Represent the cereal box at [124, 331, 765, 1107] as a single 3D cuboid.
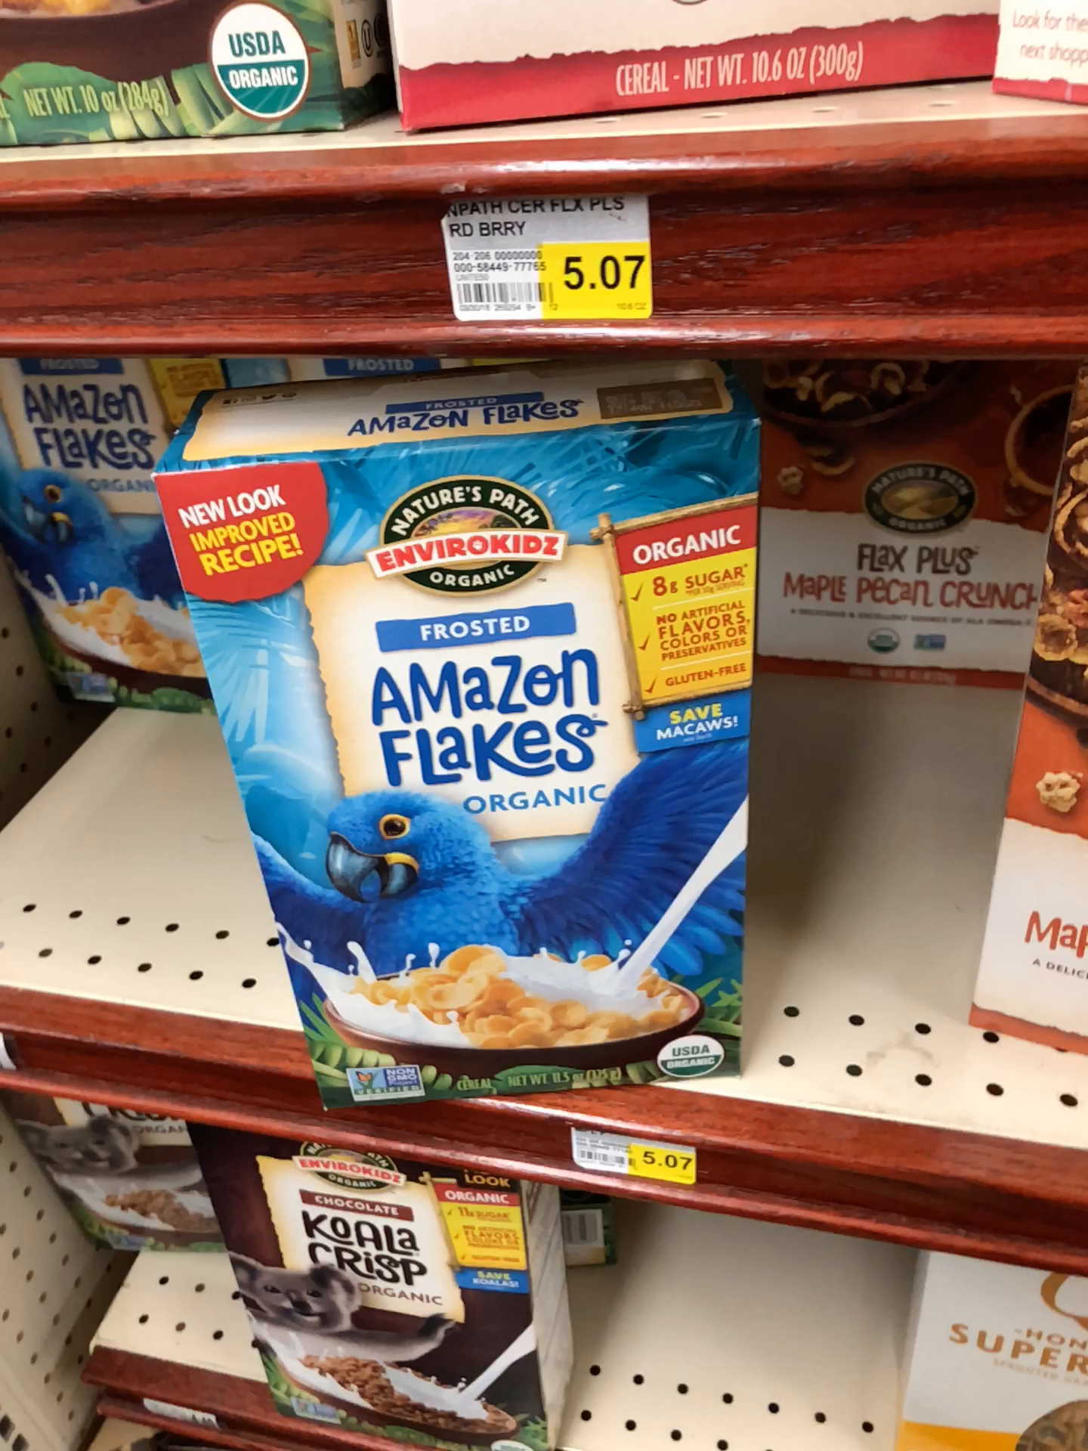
[{"bbox_3d":[-0.015,0.016,0.401,0.160,0.259,0.060,-5,37,2],"label":"cereal box"}]
